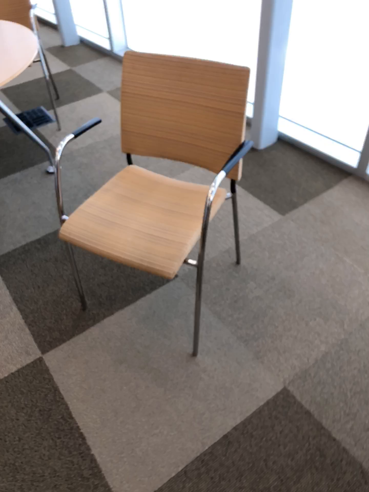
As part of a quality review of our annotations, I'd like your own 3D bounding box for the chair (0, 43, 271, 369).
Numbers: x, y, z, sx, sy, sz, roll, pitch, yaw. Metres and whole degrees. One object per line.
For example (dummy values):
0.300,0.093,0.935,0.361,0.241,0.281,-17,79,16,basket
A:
-0.091,-0.127,1.344,0.516,0.796,0.548,17,48,21,chair
